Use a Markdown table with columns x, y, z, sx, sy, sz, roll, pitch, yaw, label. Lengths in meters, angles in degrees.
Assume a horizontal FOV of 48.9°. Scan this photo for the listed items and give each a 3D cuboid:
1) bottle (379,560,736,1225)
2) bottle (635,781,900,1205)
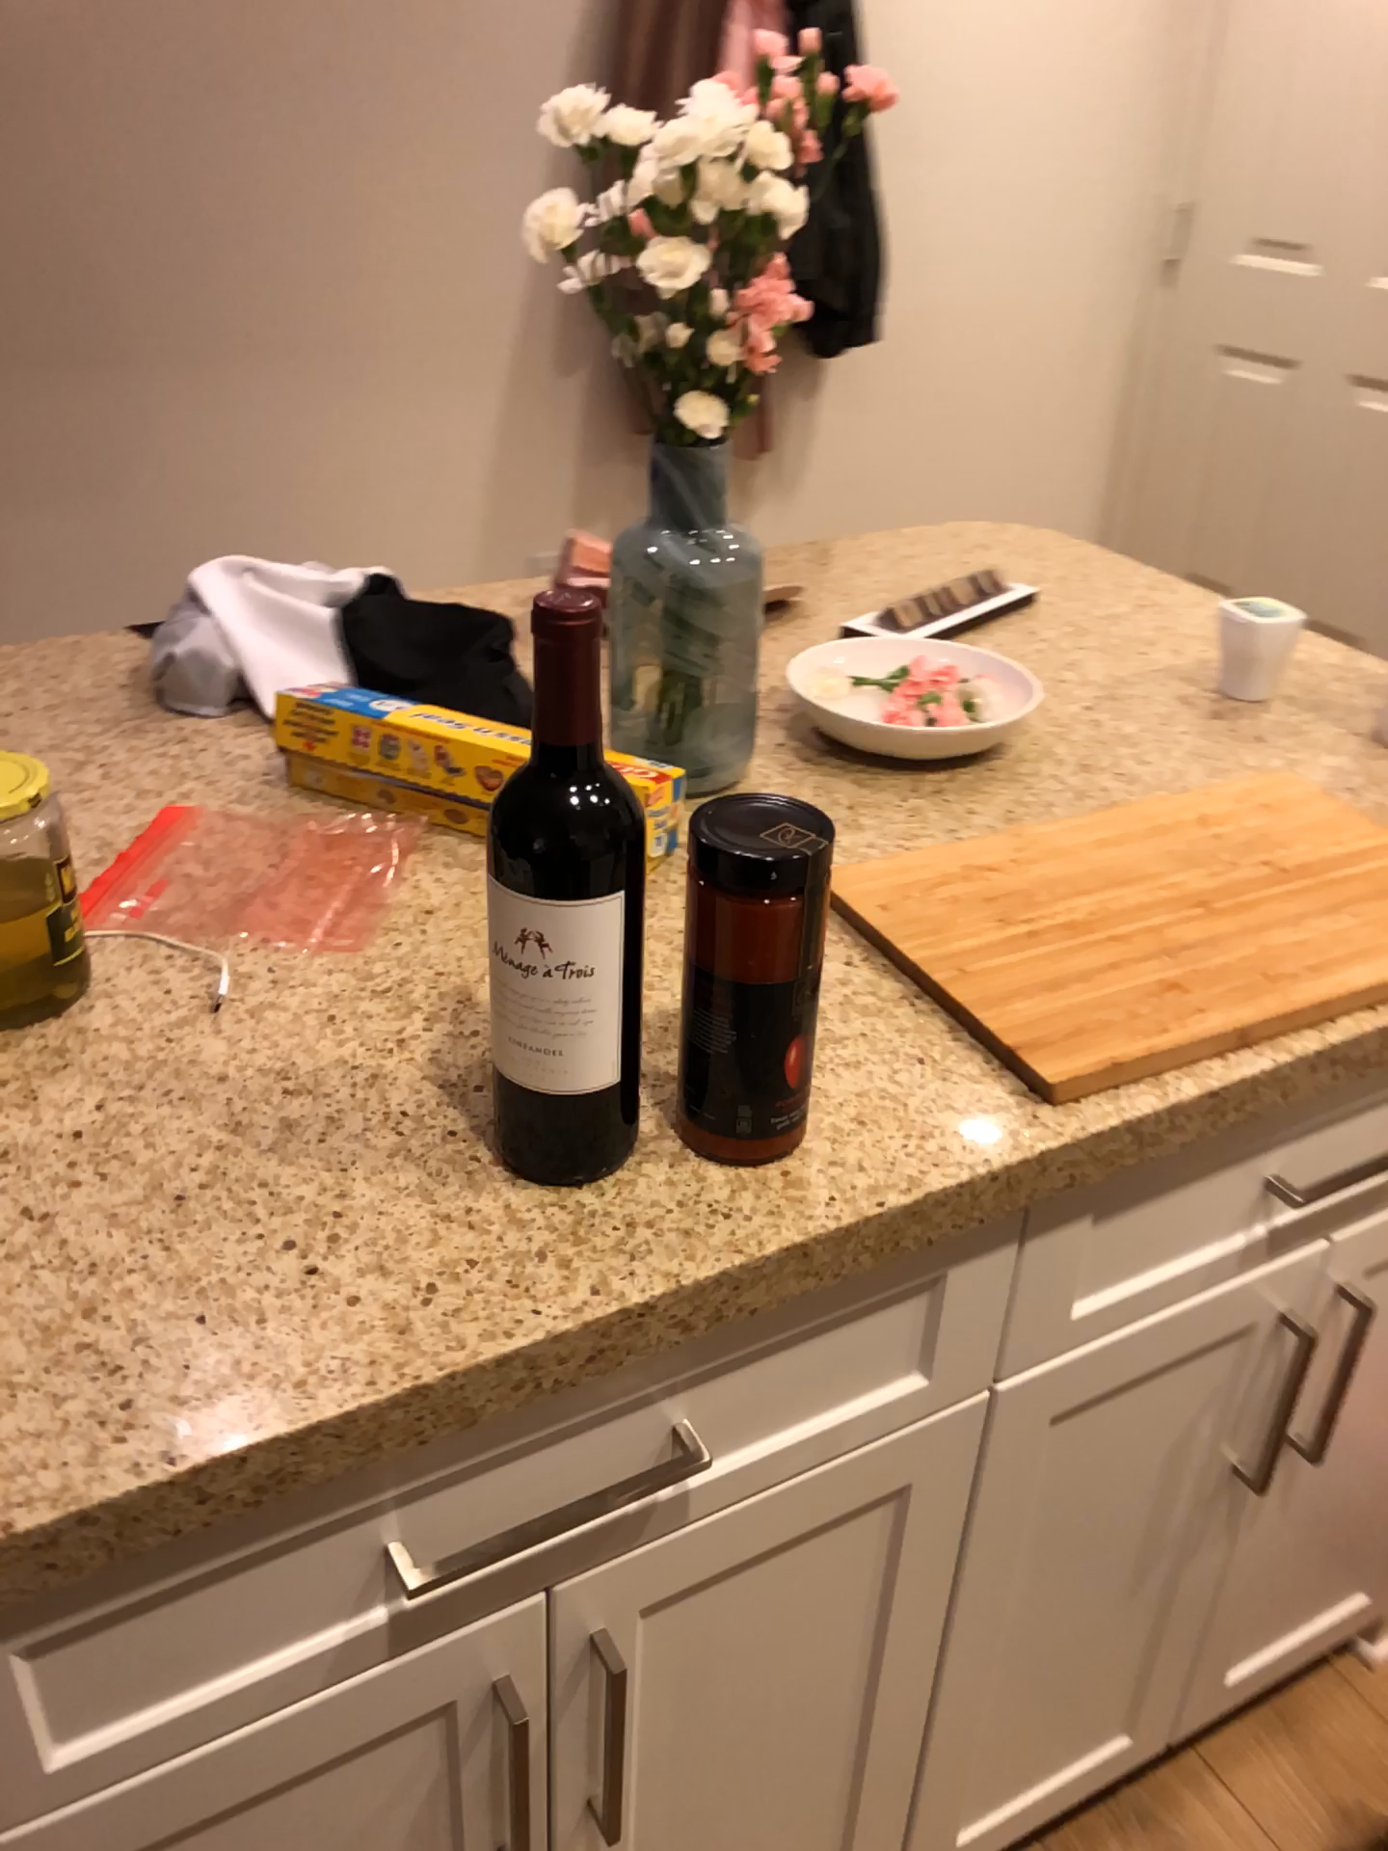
| x | y | z | sx | sy | sz | roll | pitch | yaw | label |
| --- | --- | --- | --- | --- | --- | --- | --- | --- | --- |
| -0.064 | -0.016 | 0.736 | 0.110 | 0.278 | 0.110 | 2 | 29 | -1 | bottle |
| 0.034 | 0.033 | 0.792 | 0.090 | 0.179 | 0.090 | 2 | 30 | -1 | bottle |
